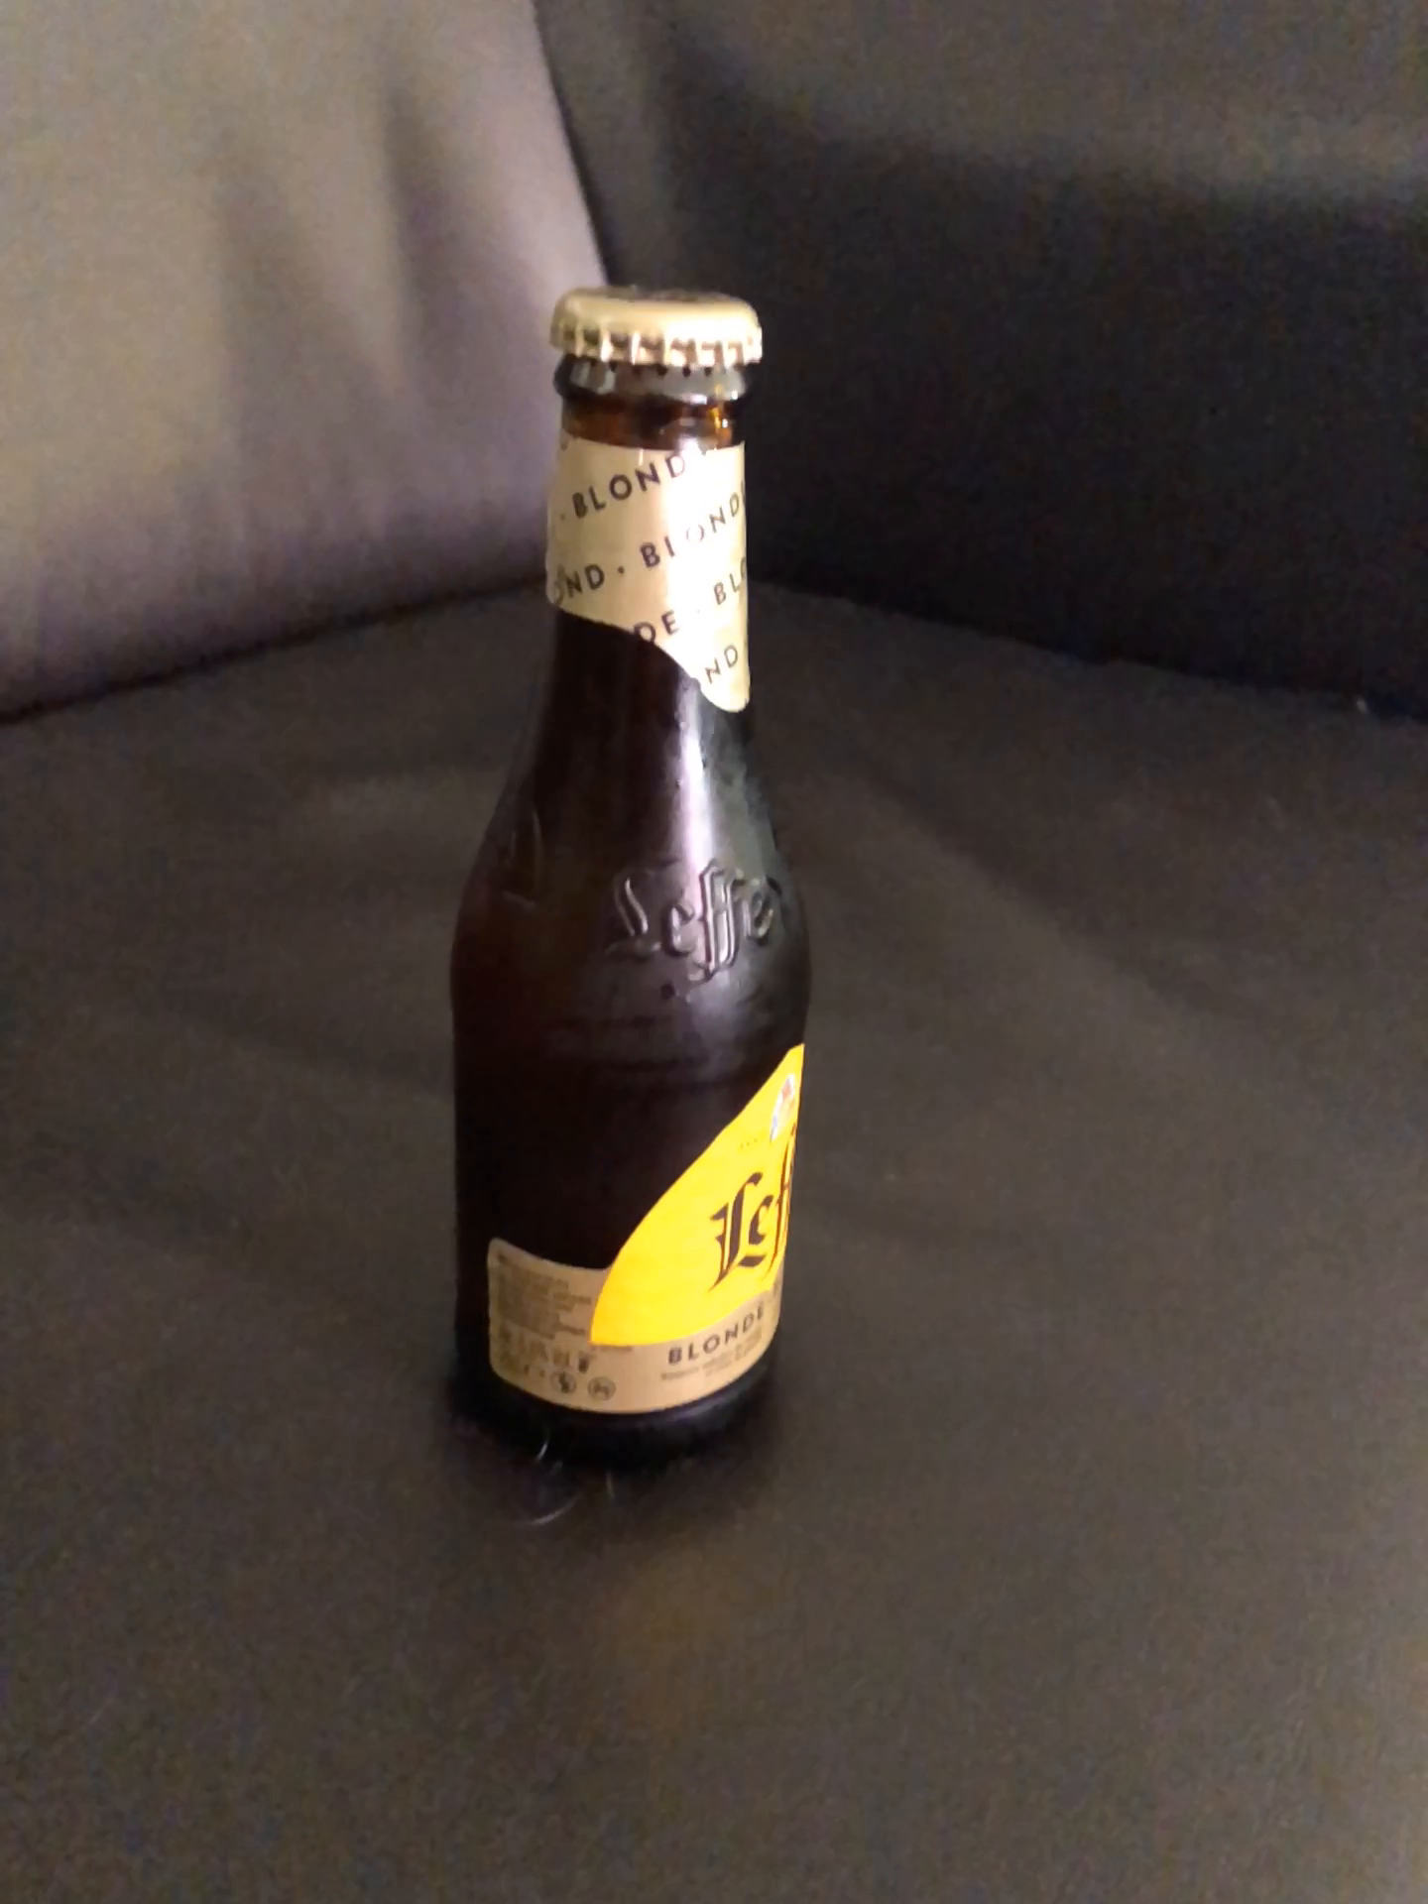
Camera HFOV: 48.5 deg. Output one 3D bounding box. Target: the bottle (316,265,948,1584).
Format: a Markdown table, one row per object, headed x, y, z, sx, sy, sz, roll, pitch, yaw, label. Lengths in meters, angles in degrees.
| x | y | z | sx | sy | sz | roll | pitch | yaw | label |
| --- | --- | --- | --- | --- | --- | --- | --- | --- | --- |
| -0.015 | 0.001 | 0.247 | 0.060 | 0.189 | 0.060 | 4 | 29 | -2 | bottle |
